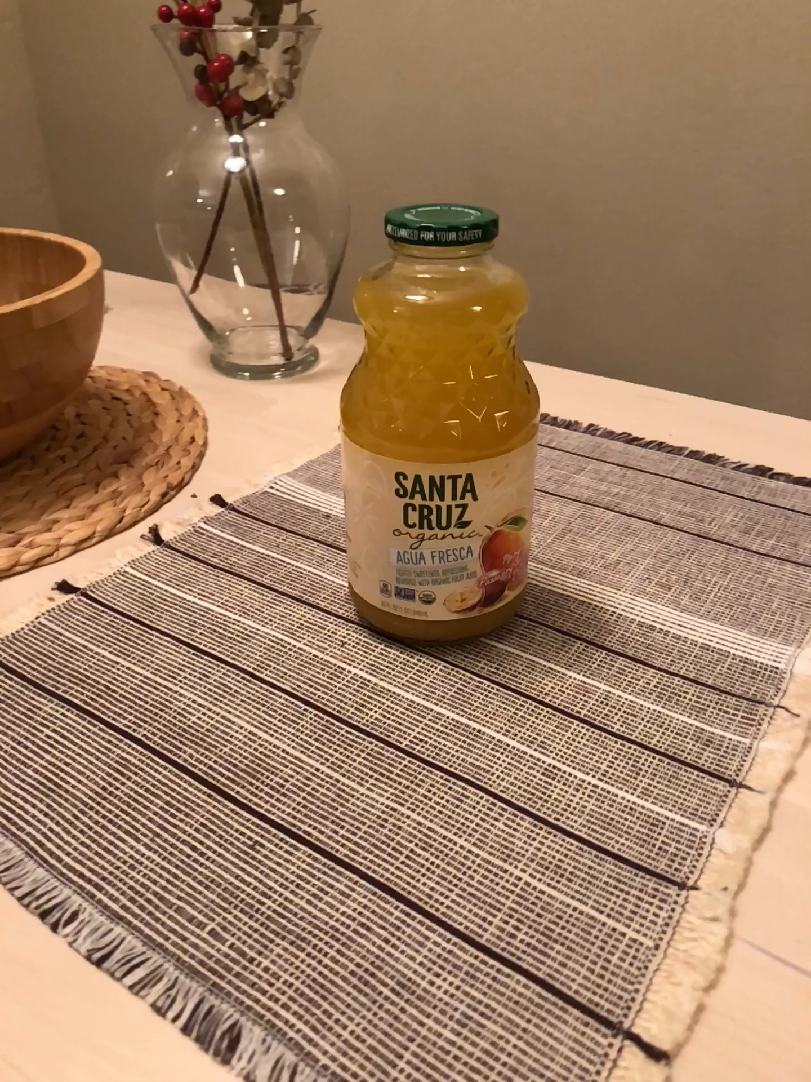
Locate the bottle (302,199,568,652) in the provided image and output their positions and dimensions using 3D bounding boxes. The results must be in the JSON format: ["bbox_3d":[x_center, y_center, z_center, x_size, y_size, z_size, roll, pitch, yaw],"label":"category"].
[{"bbox_3d":[0.012,-0.054,0.425,0.100,0.189,0.101,0,30,0],"label":"bottle"}]
